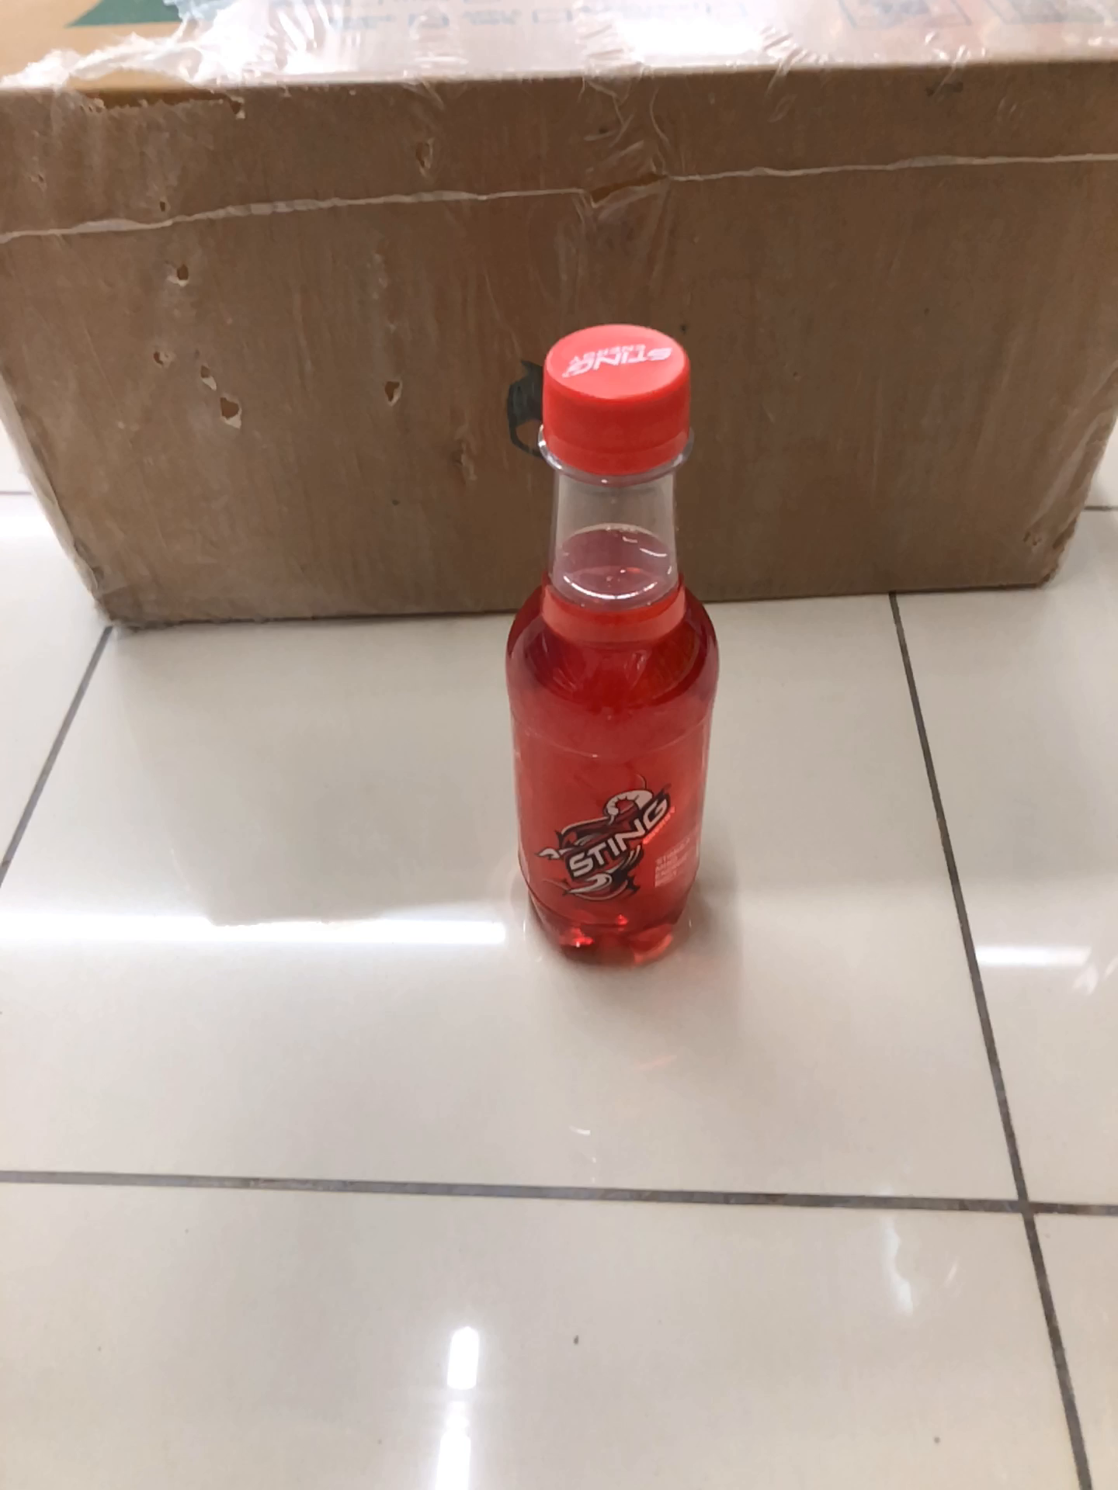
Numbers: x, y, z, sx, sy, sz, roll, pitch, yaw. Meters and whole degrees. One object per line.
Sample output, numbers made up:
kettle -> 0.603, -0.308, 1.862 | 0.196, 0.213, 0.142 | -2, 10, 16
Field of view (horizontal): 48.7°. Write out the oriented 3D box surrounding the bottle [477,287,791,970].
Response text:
bottle -> 0.017, -0.019, 0.321 | 0.060, 0.179, 0.060 | -1, 45, 1
